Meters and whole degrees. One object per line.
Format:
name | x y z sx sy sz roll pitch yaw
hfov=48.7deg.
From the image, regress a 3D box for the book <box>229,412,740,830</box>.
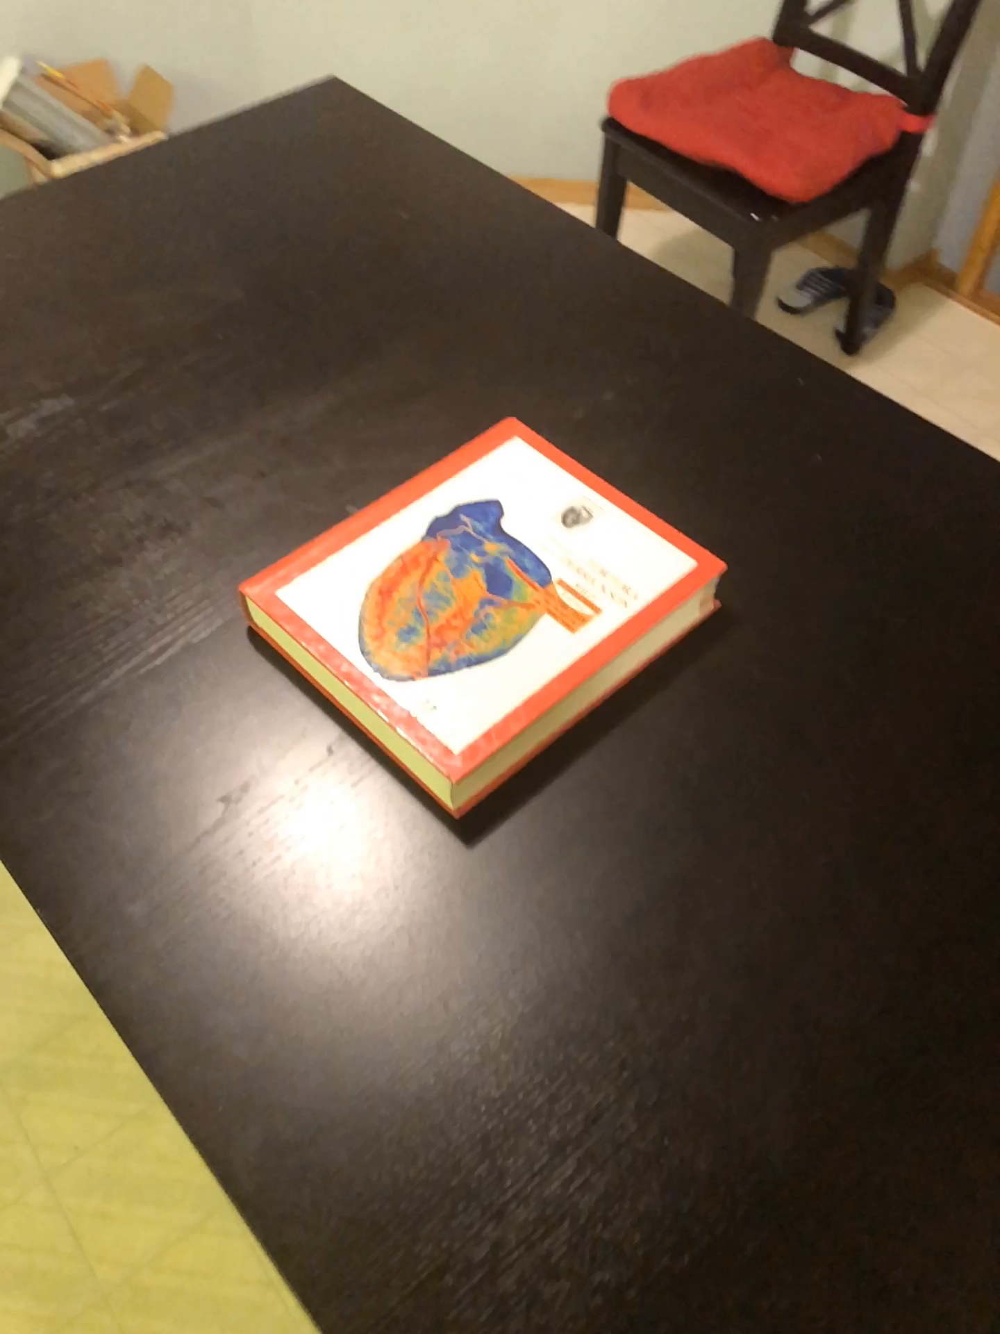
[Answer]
book | -0.010 -0.054 0.846 0.291 0.050 0.251 -37 60 -26
